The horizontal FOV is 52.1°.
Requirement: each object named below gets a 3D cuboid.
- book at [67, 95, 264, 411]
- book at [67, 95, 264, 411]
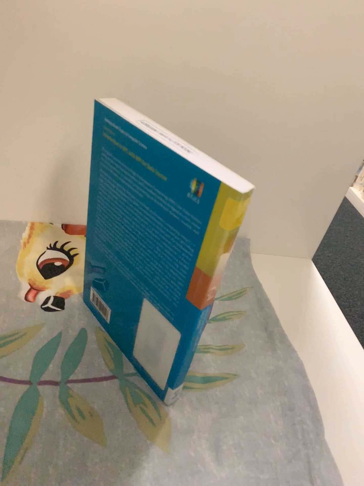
[{"bbox_3d":[-0.040,0.014,0.333,0.030,0.228,0.171,-21,48,-41],"label":"book"},{"bbox_3d":[-0.040,0.014,0.333,0.030,0.228,0.171,-21,48,-41],"label":"book"}]
